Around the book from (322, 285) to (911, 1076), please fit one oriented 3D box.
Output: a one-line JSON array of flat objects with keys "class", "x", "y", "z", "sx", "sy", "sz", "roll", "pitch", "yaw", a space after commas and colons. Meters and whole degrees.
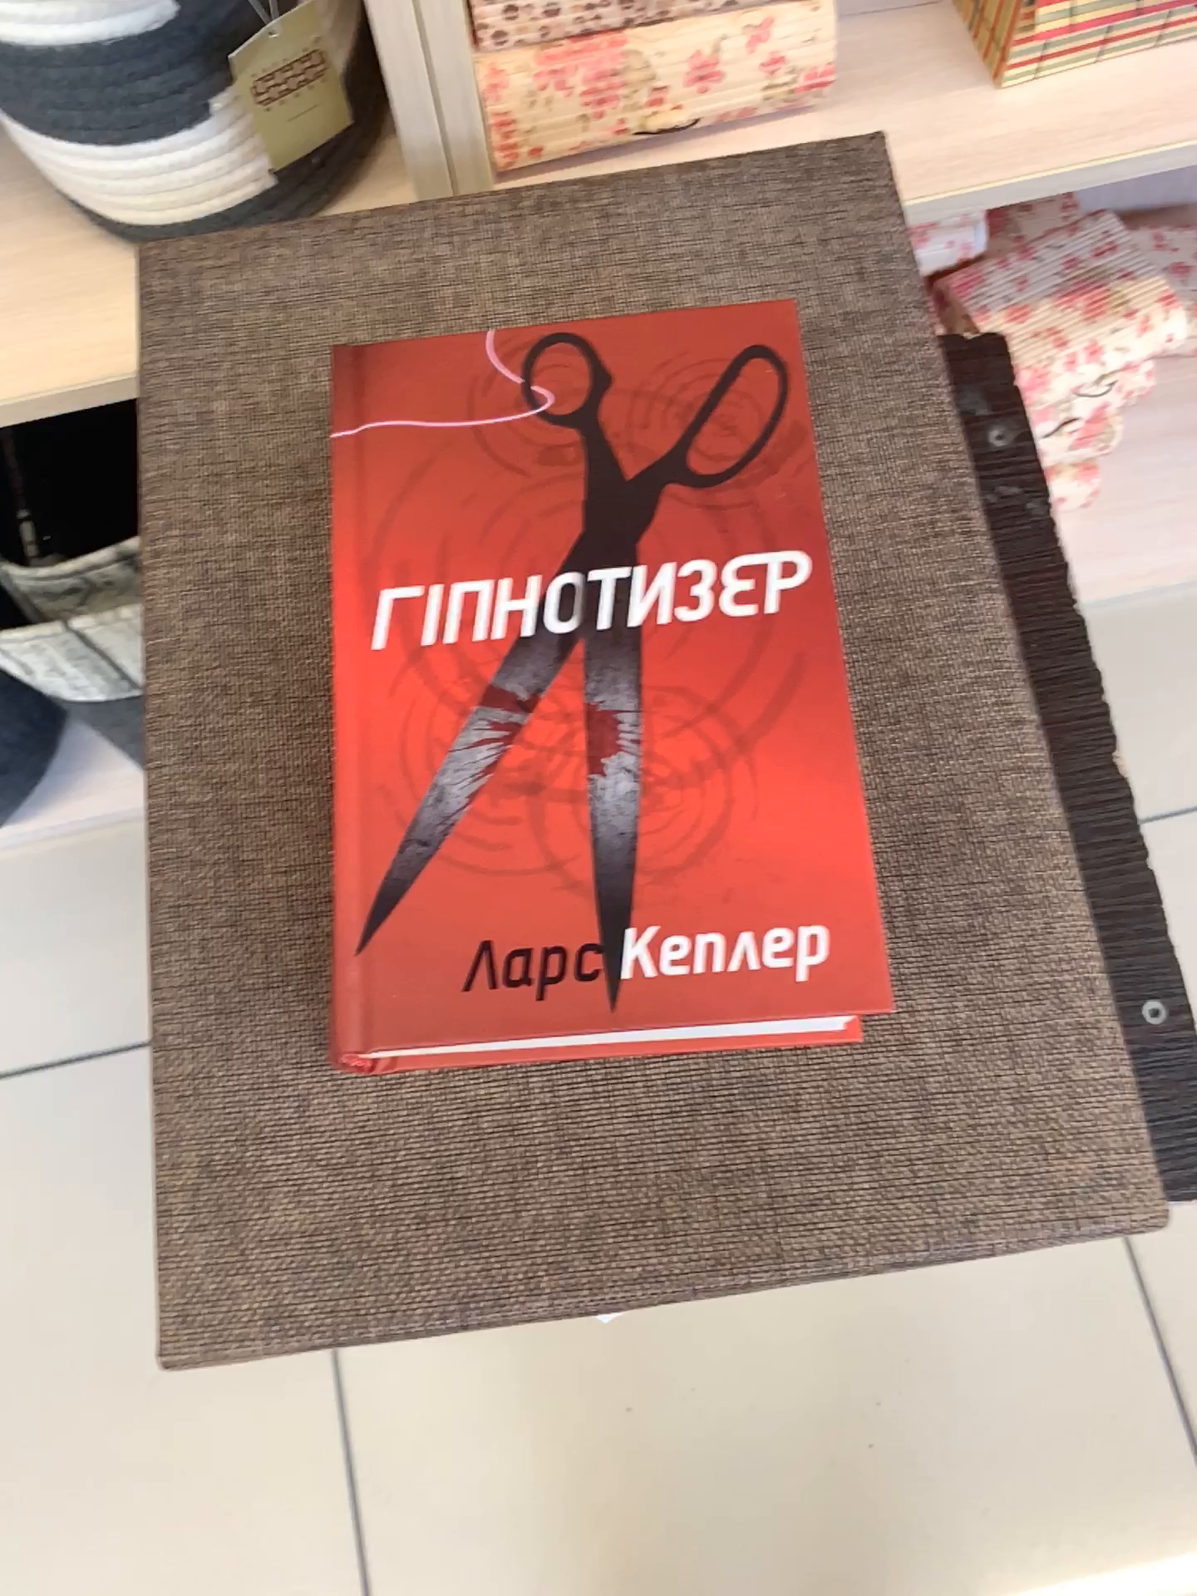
[{"class": "book", "x": -0.001, "y": -0.032, "z": 0.327, "sx": 0.132, "sy": 0.050, "sz": 0.195, "roll": -4, "pitch": 73, "yaw": 3}]
